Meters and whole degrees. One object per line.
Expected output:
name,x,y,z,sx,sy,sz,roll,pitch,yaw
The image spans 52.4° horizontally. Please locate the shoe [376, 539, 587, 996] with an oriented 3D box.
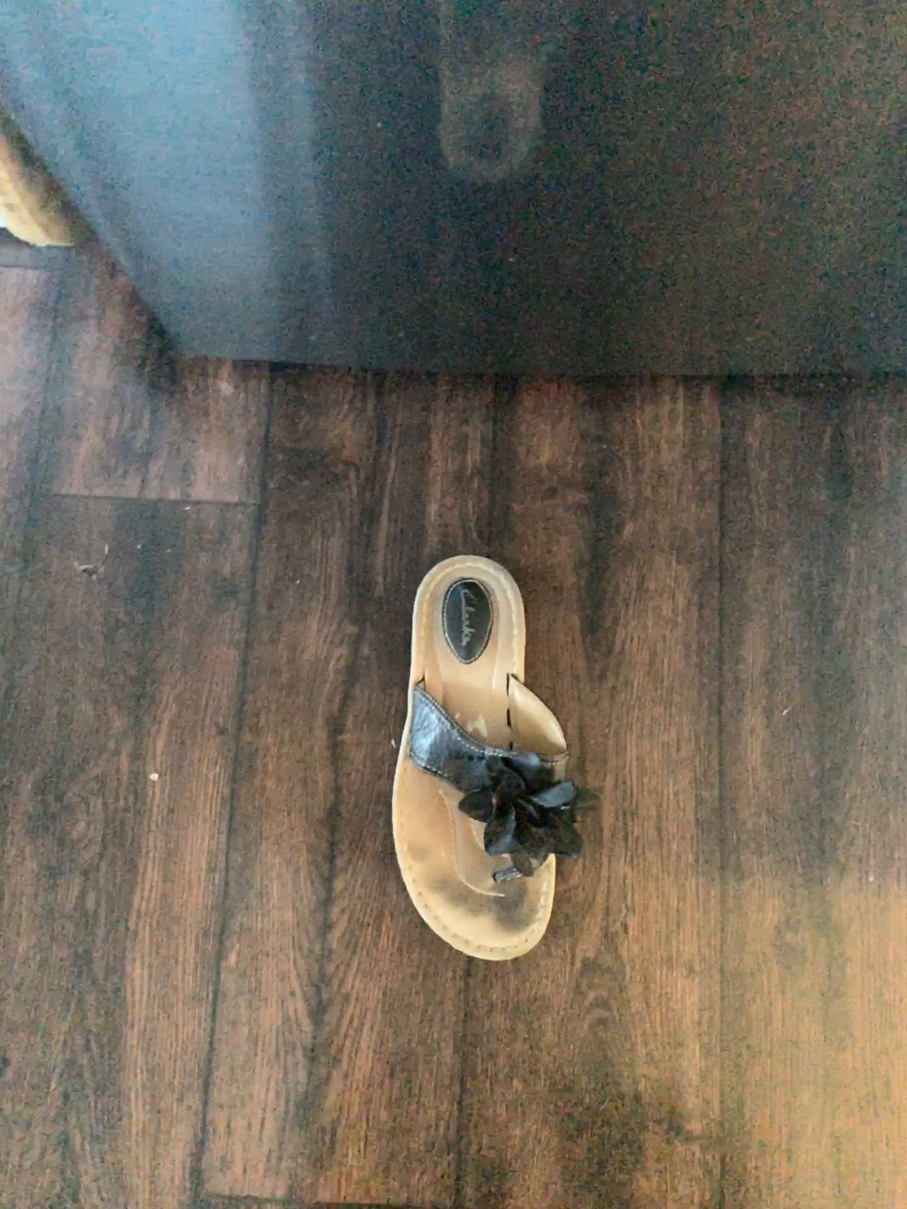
shoe,0.018,0.091,0.546,0.110,0.050,0.250,2,81,1
